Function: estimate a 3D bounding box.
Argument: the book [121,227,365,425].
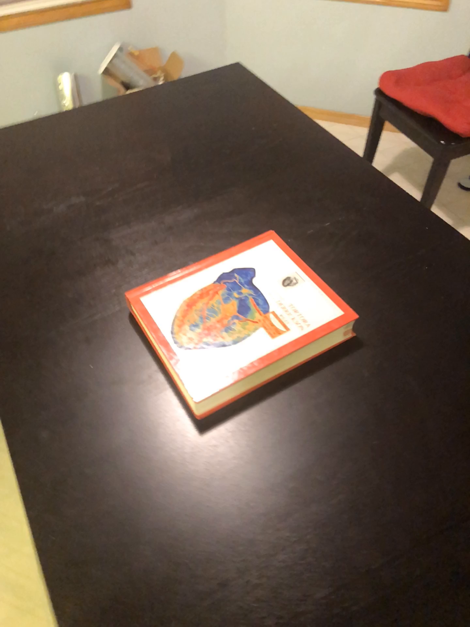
[{"bbox_3d":[0.007,0.001,0.824,0.290,0.050,0.251,-25,53,-18],"label":"book"}]
